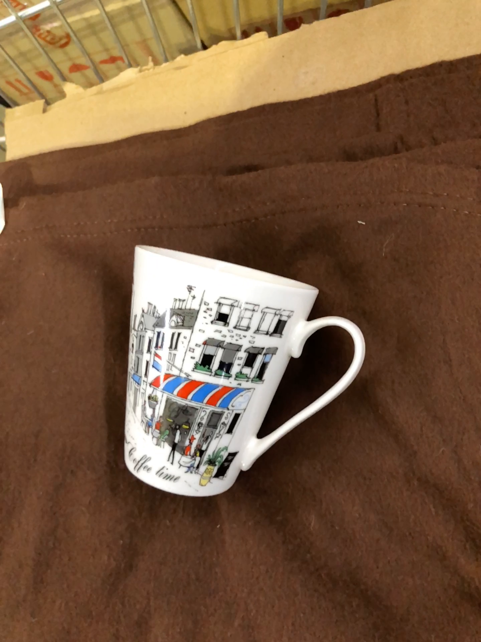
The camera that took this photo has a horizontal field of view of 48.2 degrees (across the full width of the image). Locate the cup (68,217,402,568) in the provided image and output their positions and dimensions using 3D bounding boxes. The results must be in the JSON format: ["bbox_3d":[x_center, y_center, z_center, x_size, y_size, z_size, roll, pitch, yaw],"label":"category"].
[{"bbox_3d":[0.000,0.023,0.250,0.110,0.080,0.110,0,91,23],"label":"cup"}]
